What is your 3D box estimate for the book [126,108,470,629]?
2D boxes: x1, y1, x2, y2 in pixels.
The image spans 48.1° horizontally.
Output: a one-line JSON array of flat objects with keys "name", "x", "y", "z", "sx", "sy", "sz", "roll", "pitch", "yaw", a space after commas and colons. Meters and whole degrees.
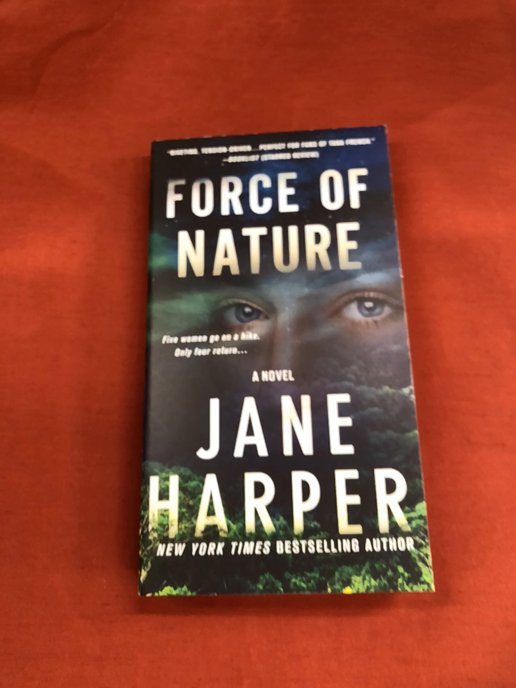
[{"name": "book", "x": 0.010, "y": 0.007, "z": 0.230, "sx": 0.110, "sy": 0.050, "sz": 0.180, "roll": -4, "pitch": 79, "yaw": 2}]
